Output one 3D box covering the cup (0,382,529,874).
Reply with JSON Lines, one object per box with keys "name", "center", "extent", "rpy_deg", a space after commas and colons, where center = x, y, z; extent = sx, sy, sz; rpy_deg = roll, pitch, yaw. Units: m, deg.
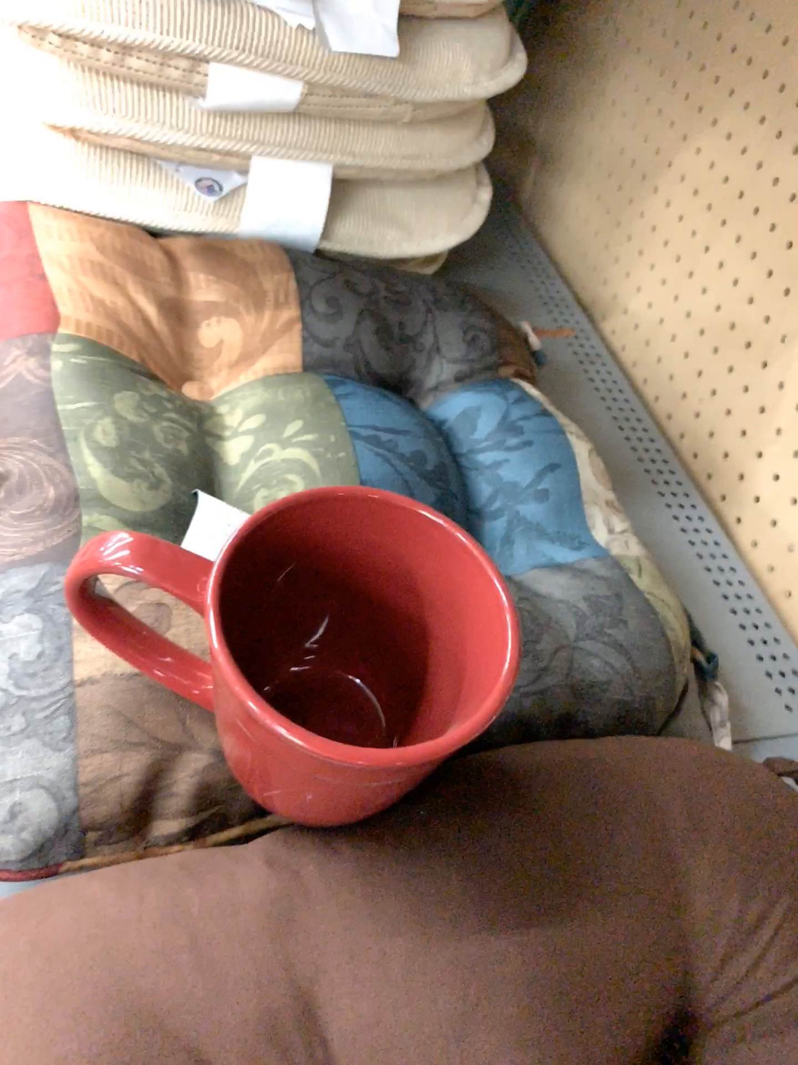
{"name": "cup", "center": [-0.046, 0.035, 0.281], "extent": [0.150, 0.090, 0.100], "rpy_deg": [16, 51, -5]}
